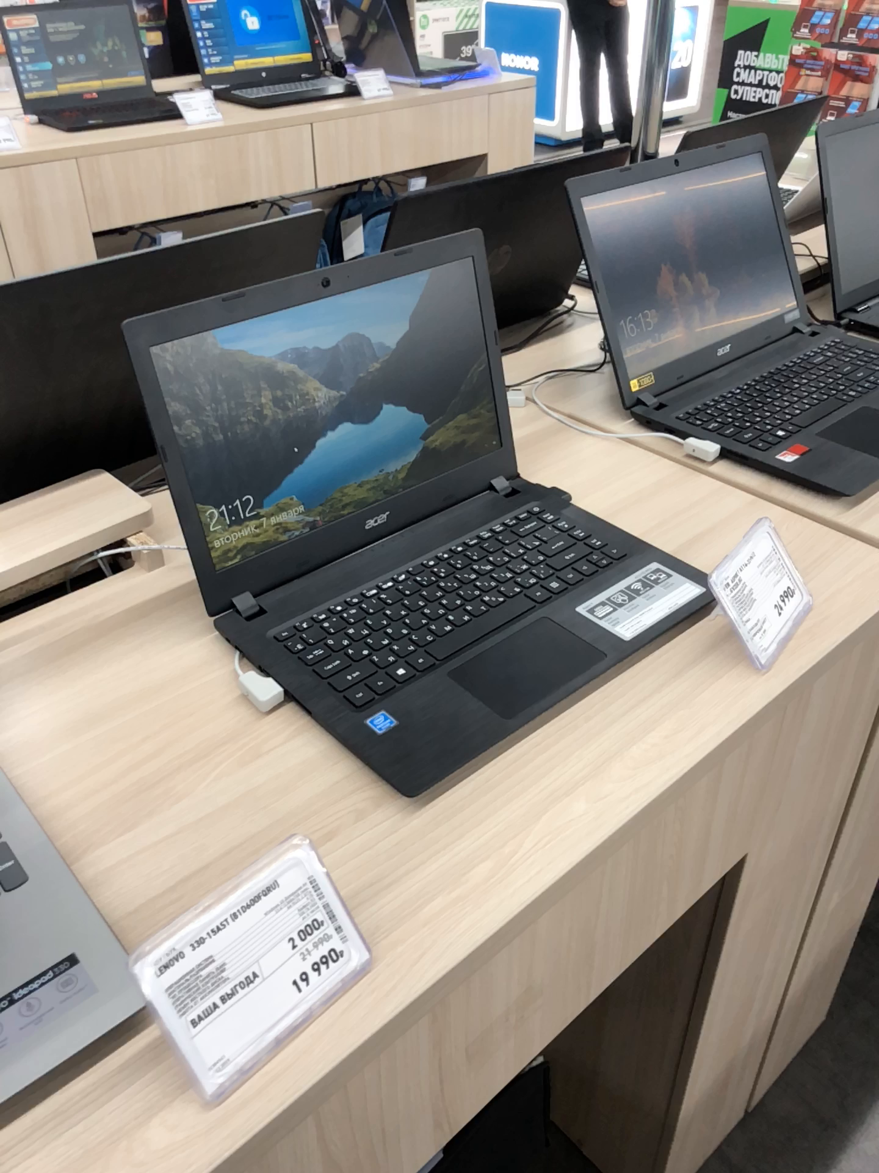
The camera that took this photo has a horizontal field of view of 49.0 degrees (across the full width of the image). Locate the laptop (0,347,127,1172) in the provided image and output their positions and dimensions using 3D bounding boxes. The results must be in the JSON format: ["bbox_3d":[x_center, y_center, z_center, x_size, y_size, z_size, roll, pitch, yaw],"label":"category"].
[{"bbox_3d":[-0.396,0.107,0.427,0.363,0.236,0.338,-26,43,-32],"label":"laptop"}]

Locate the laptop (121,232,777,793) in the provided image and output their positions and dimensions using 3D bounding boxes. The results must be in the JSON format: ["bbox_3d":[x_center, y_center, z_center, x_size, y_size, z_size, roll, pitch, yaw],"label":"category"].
[{"bbox_3d":[0.009,-0.092,0.734,0.343,0.223,0.302,-27,43,-33],"label":"laptop"}]

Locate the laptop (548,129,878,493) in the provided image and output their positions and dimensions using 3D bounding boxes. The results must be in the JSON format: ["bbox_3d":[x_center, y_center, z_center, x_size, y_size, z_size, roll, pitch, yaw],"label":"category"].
[{"bbox_3d":[0.396,-0.331,1.060,0.380,0.216,0.377,-28,44,-33],"label":"laptop"}]
